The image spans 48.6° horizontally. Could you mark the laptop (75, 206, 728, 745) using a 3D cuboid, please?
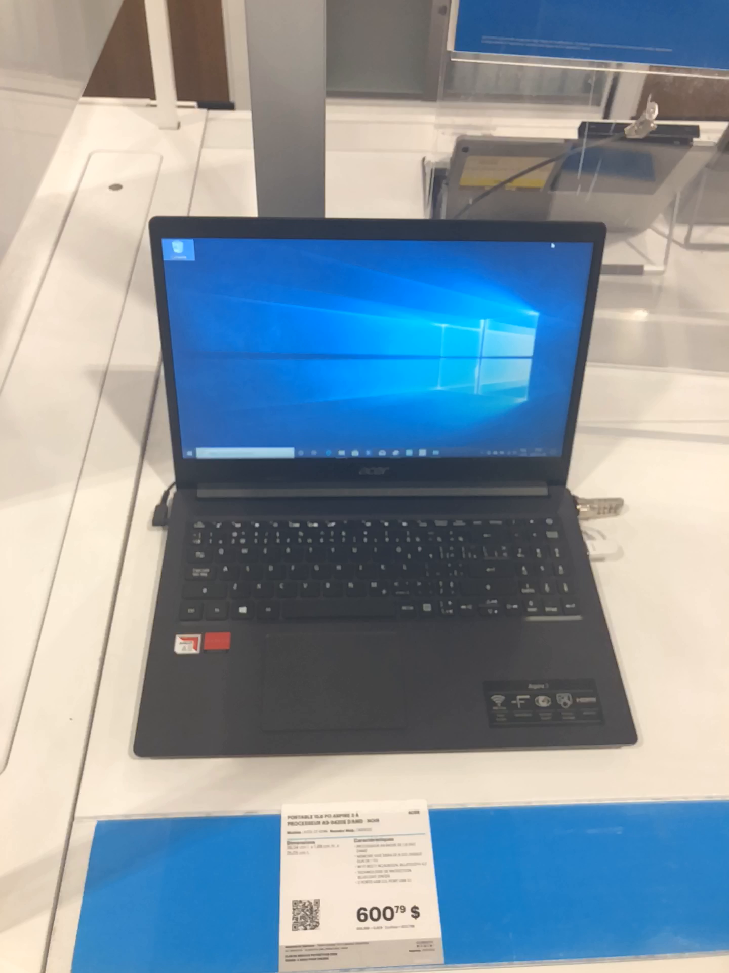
[{"bbox_3d":[0.016,-0.017,0.633,0.367,0.212,0.351,0,50,-3],"label":"laptop"}]
